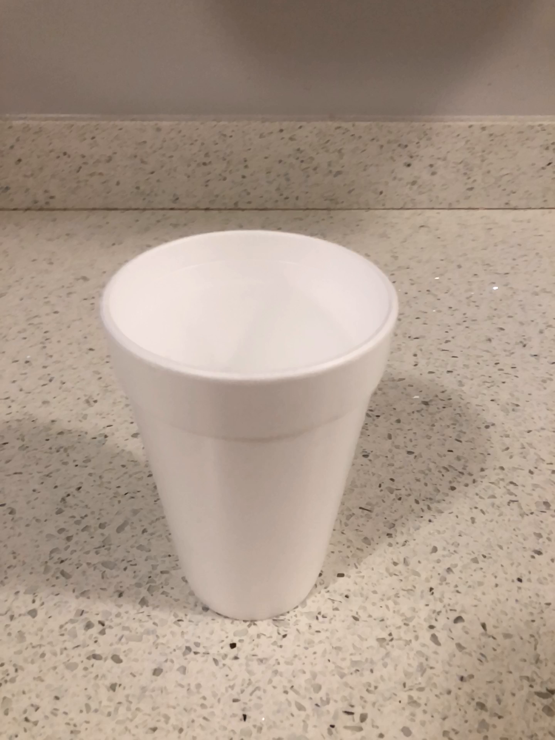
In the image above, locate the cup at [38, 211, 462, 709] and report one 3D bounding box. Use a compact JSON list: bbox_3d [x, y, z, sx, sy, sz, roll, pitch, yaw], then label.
[{"bbox_3d":[-0.010,0.025,0.216,0.088,0.118,0.090,0,36,0],"label":"cup"}]
